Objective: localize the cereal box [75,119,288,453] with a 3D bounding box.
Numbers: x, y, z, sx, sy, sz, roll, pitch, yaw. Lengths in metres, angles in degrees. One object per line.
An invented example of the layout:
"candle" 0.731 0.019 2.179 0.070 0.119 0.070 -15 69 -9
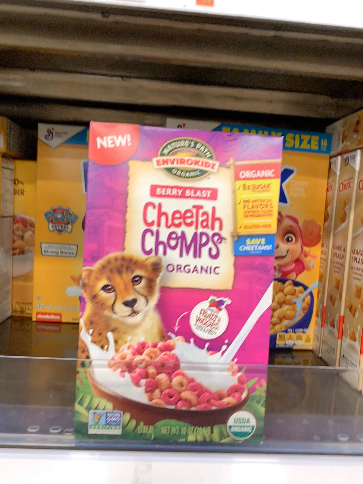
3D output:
"cereal box" -0.002 0.039 0.342 0.160 0.270 0.060 3 2 -3
